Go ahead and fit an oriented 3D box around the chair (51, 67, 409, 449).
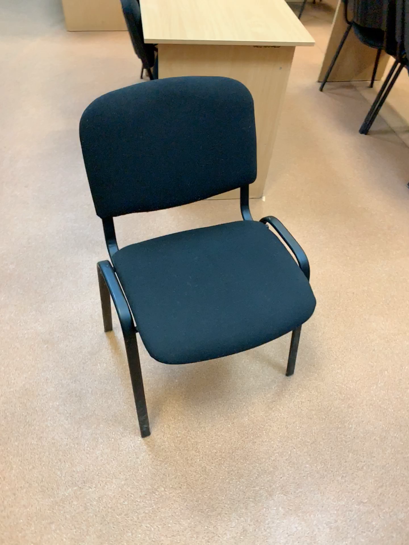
[{"bbox_3d":[-0.006,-0.026,1.182,0.575,0.784,0.594,-15,53,-18],"label":"chair"}]
